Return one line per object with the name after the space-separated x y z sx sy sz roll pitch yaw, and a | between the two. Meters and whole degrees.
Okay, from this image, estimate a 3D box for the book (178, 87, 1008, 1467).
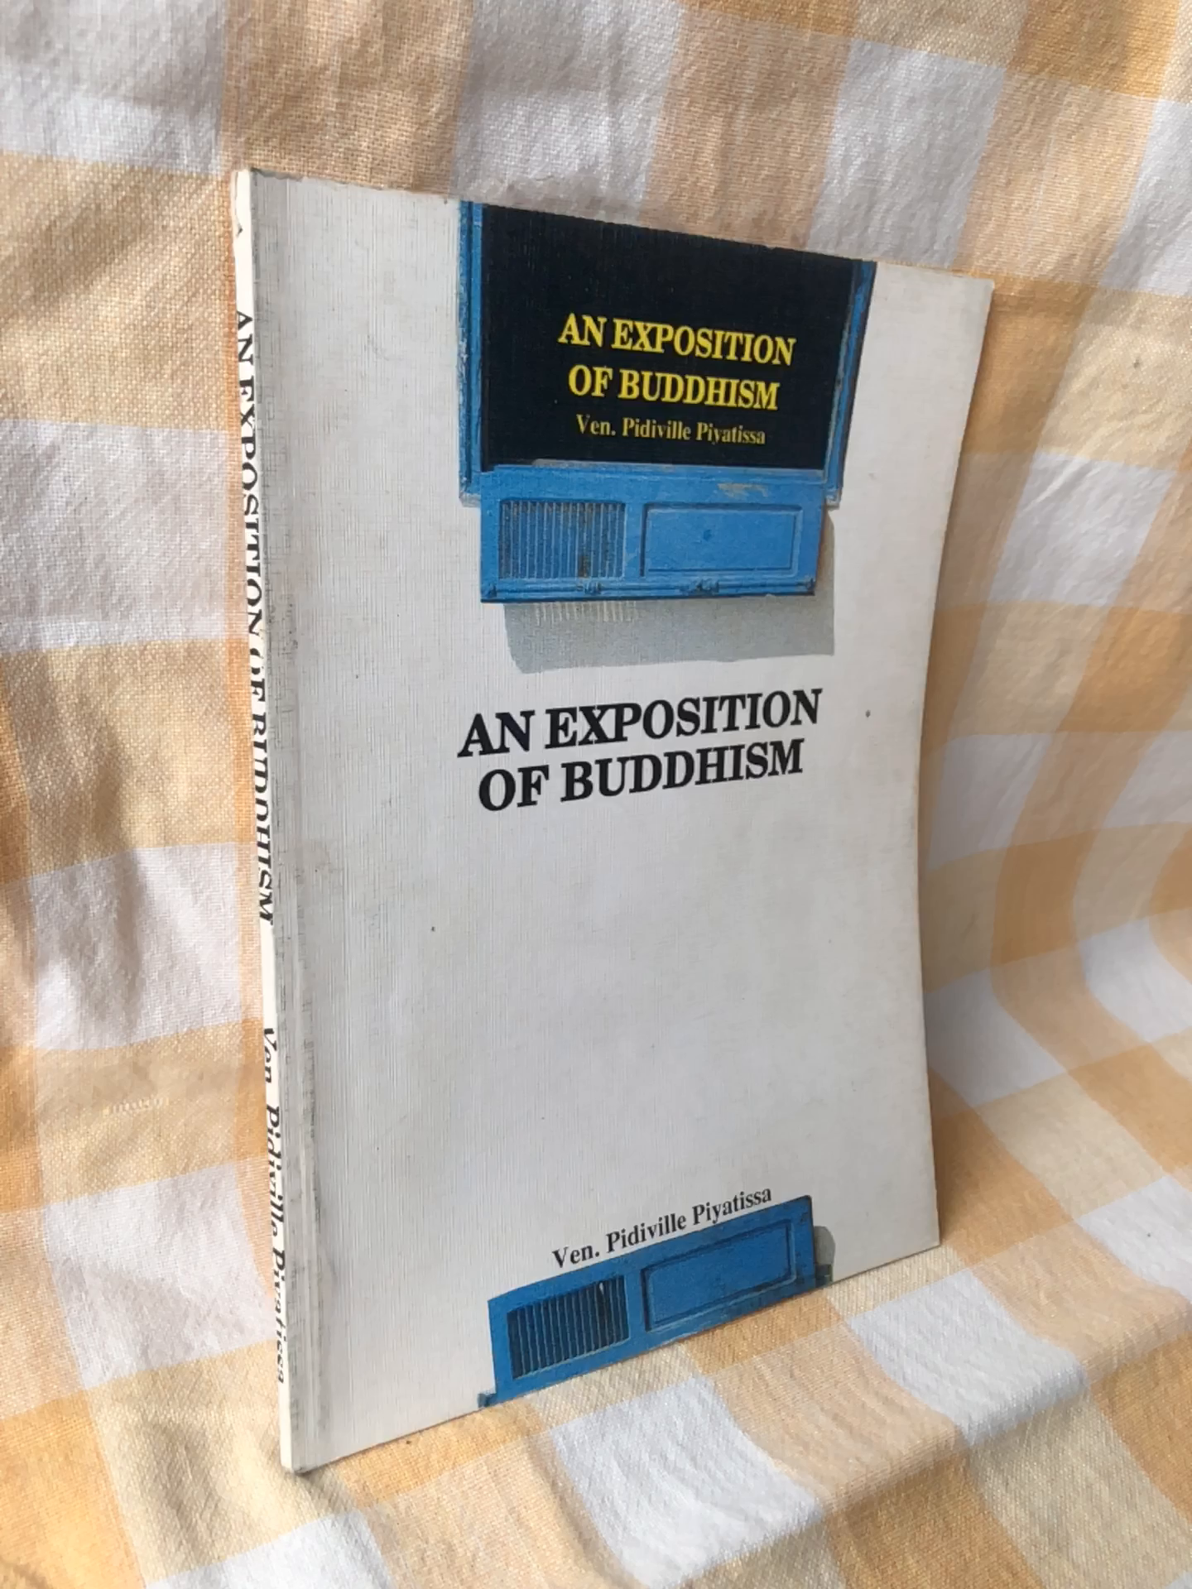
0.007 -0.001 0.232 0.140 0.200 0.020 -7 14 -29 | book
